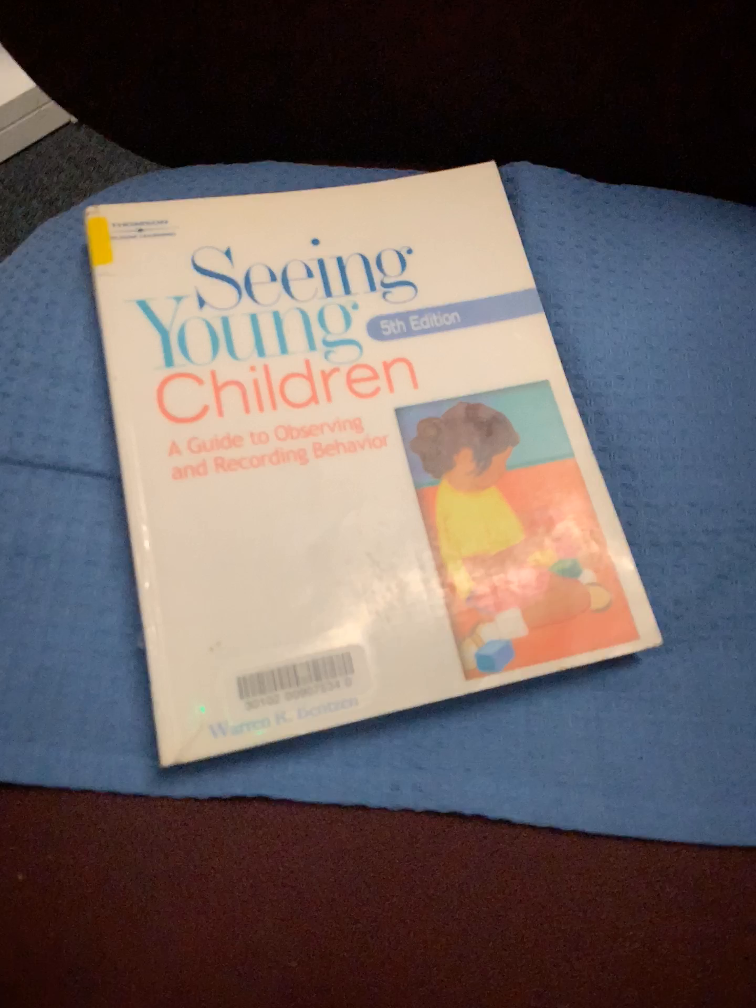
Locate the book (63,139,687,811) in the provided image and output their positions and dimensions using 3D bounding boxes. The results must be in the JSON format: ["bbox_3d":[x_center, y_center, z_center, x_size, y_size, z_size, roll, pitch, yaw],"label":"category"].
[{"bbox_3d":[-0.008,-0.030,0.322,0.200,0.030,0.251,-11,75,-11],"label":"book"}]
